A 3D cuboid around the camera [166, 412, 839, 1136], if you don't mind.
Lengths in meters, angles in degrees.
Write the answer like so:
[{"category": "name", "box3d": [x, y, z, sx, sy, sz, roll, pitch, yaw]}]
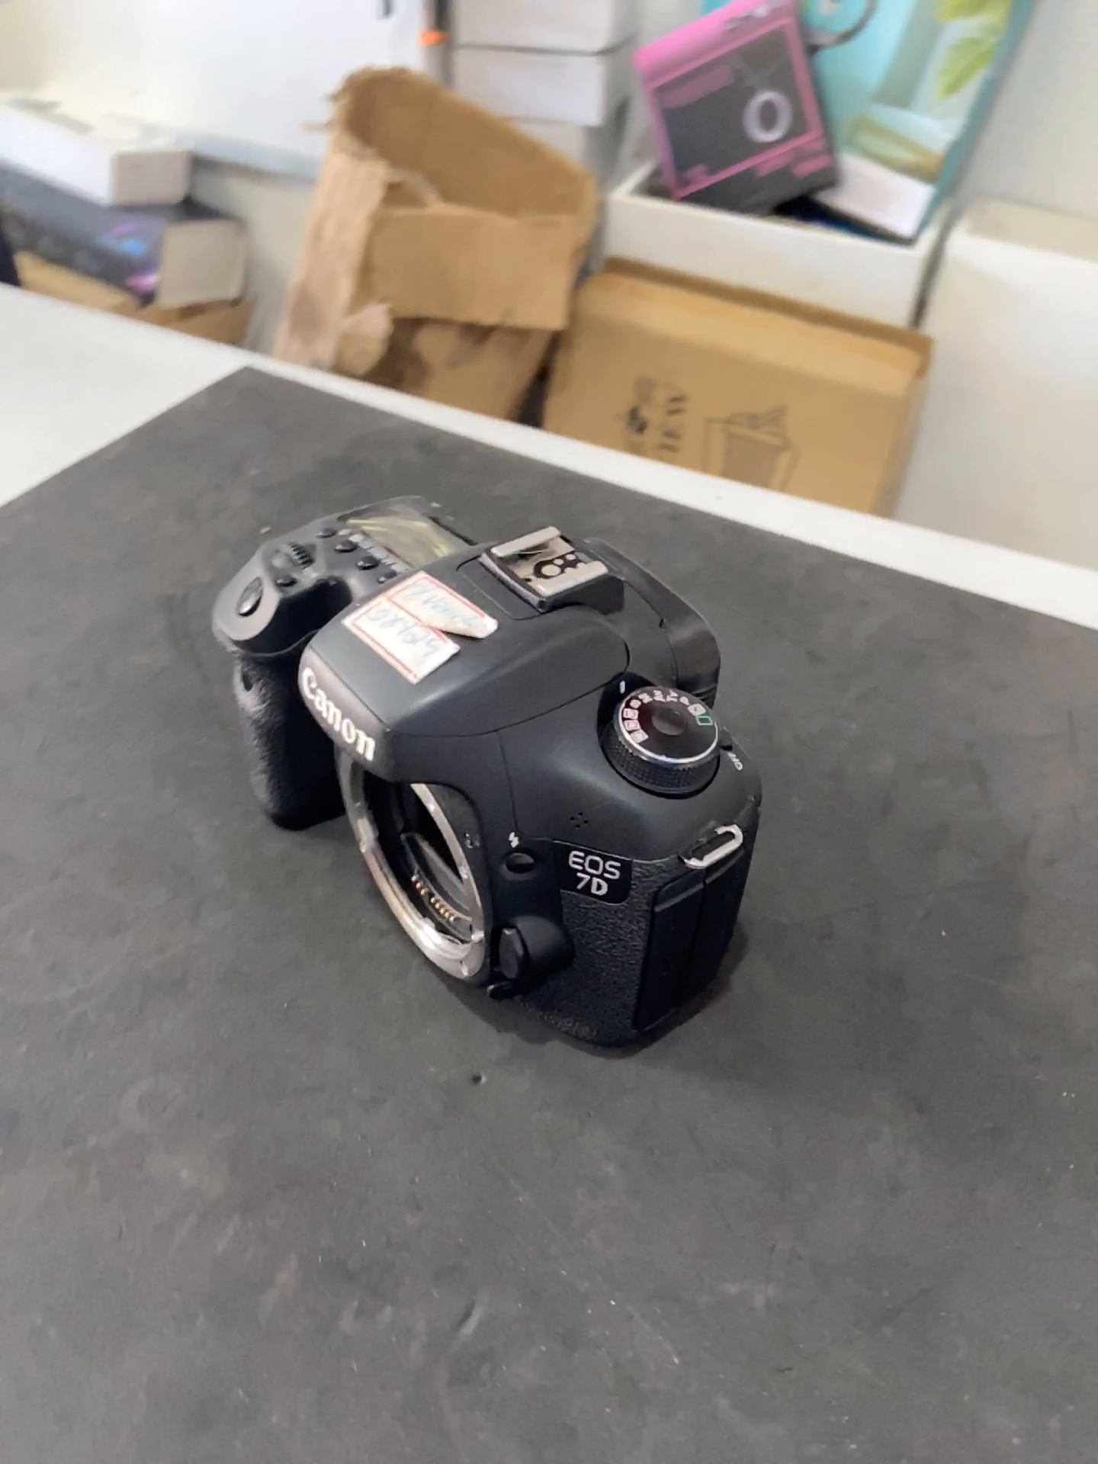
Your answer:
[{"category": "camera", "box3d": [-0.019, 0.002, 0.301, 0.083, 0.101, 0.152, -28, 50, -30]}]
